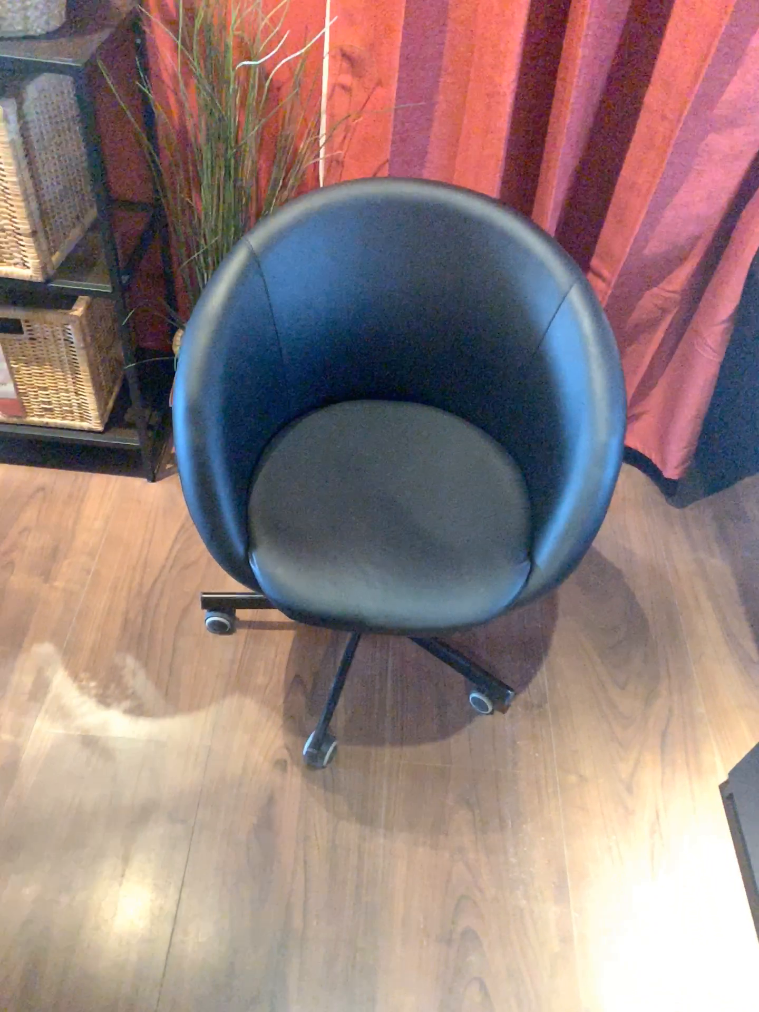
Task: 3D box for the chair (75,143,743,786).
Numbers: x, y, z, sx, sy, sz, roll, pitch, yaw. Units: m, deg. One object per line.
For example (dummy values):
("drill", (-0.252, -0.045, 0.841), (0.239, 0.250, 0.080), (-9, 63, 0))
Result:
("chair", (0.006, -0.037, 1.272), (0.670, 0.757, 0.672), (4, 48, -4))
